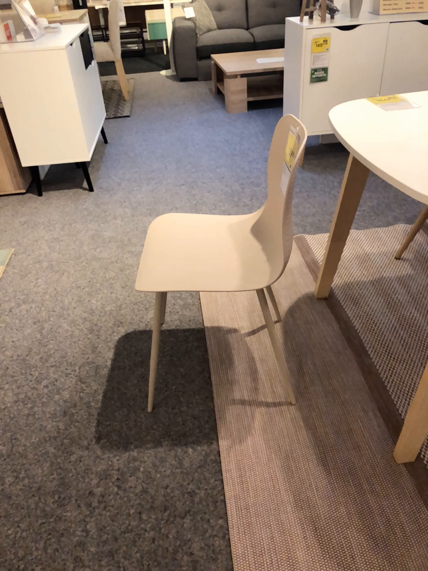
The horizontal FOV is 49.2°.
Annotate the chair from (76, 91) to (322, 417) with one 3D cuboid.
[{"bbox_3d":[-0.020,-0.090,1.371,0.500,0.765,0.503,-4,34,-1],"label":"chair"}]
